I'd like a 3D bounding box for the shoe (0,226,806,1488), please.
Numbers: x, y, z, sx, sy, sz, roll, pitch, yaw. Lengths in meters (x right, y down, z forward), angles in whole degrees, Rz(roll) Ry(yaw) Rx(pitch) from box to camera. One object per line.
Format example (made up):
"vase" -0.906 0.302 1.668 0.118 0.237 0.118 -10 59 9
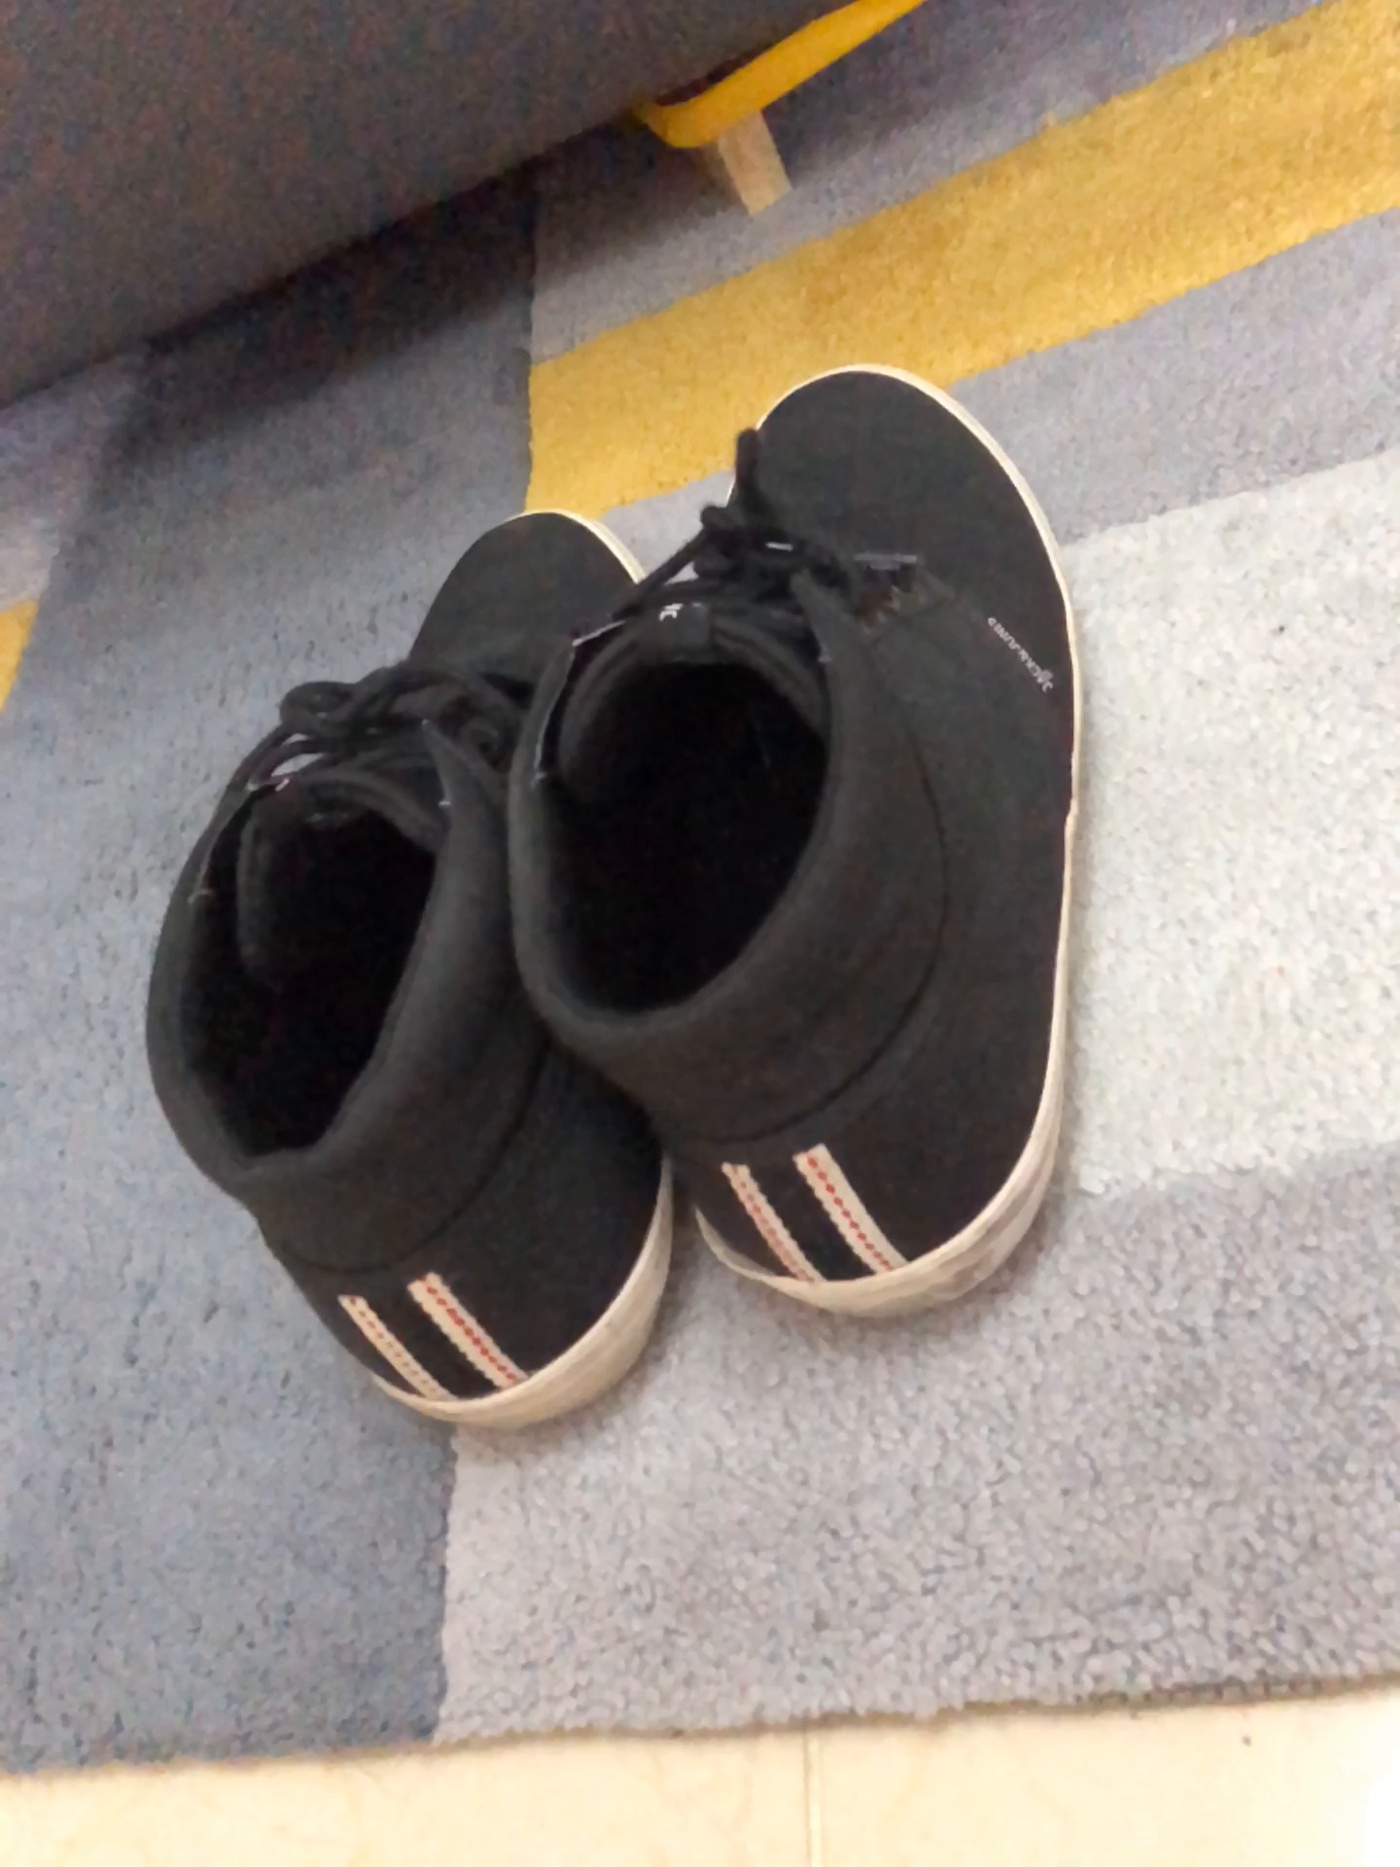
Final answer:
"shoe" -0.057 -0.034 0.374 0.110 0.109 0.281 -18 47 17

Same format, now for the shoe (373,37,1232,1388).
"shoe" 0.032 -0.061 0.357 0.110 0.129 0.281 -14 48 21
